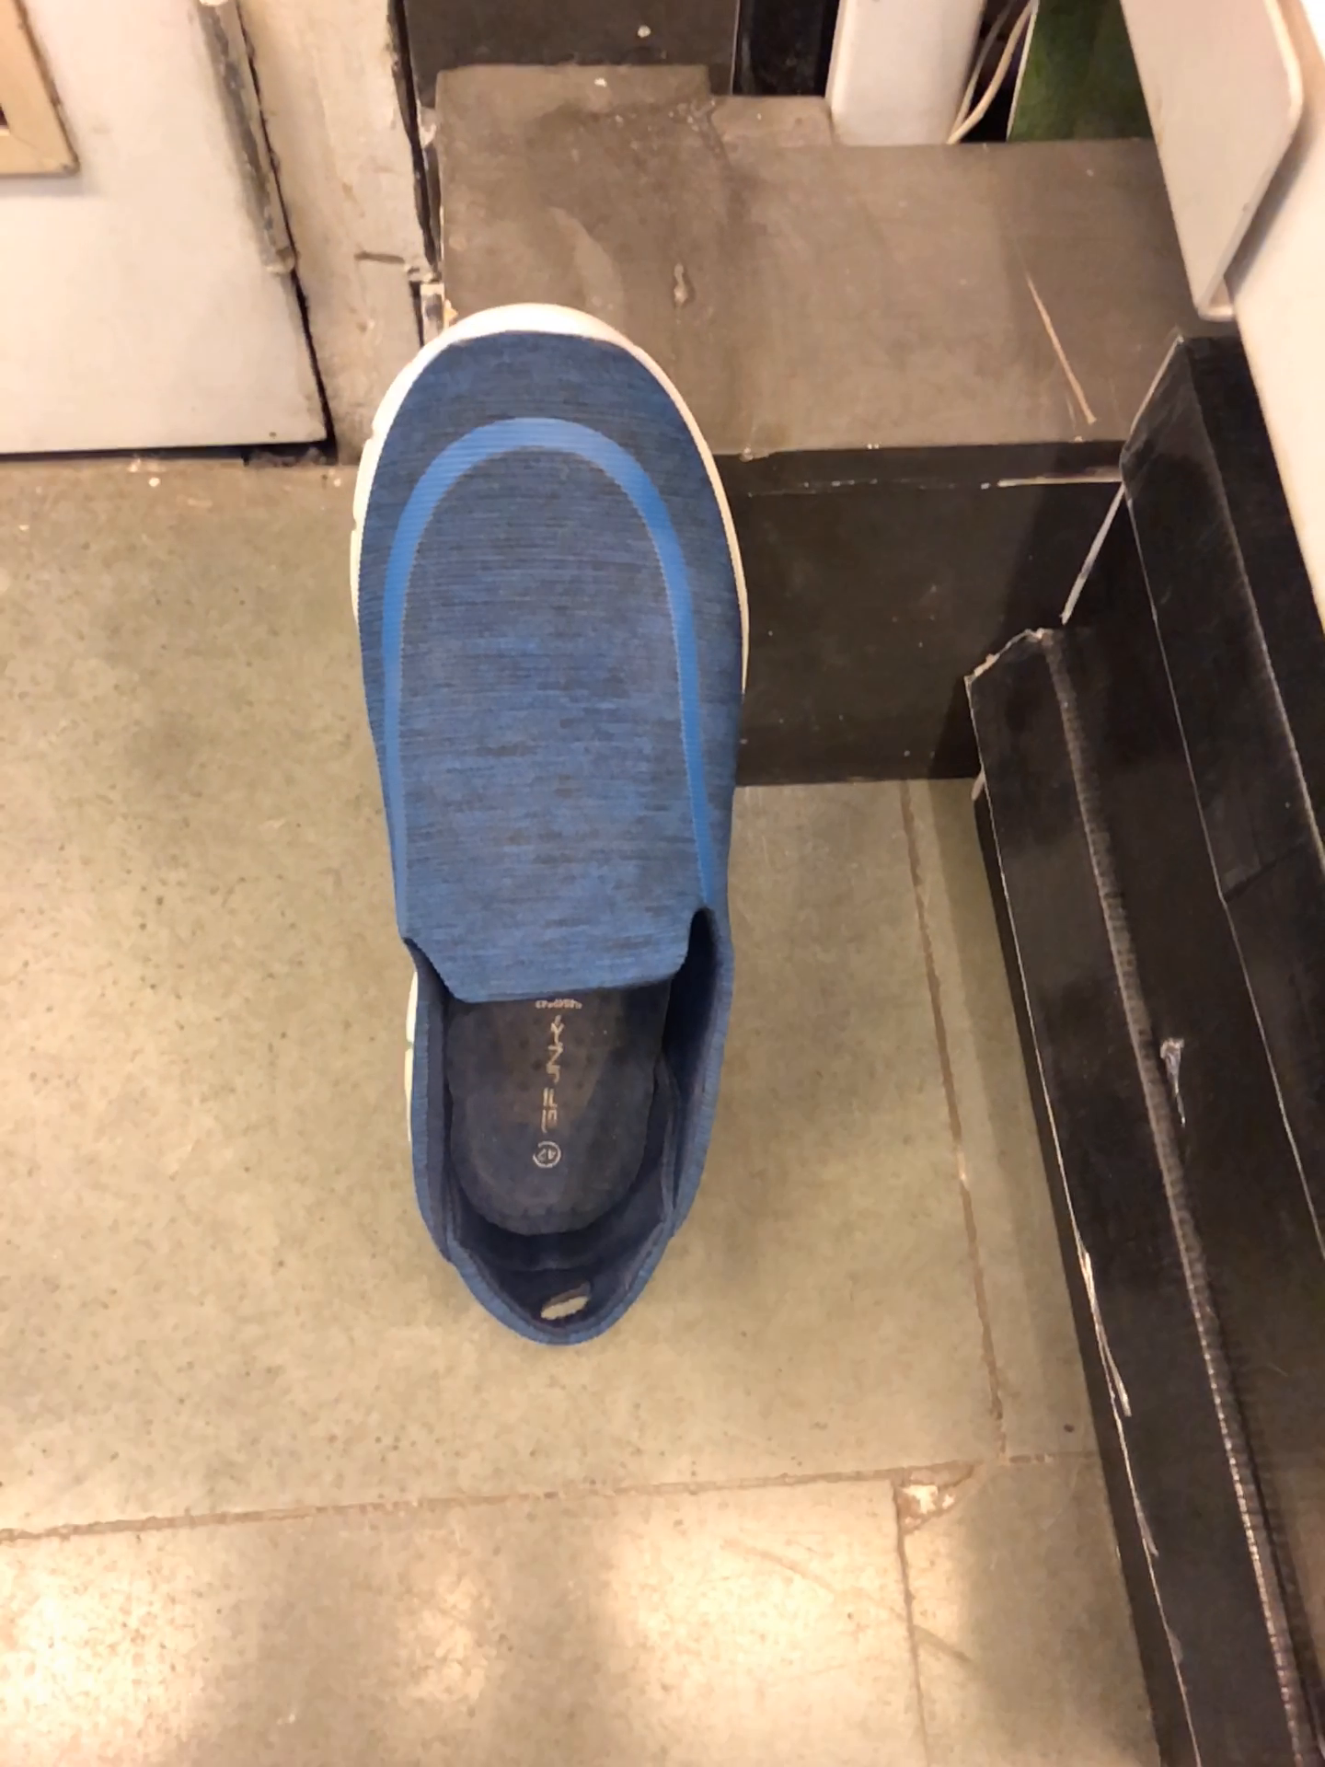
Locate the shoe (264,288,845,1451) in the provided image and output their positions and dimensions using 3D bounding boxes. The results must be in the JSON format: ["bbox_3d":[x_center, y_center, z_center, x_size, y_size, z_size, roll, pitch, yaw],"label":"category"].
[{"bbox_3d":[-0.028,-0.002,0.371,0.110,0.271,0.096,-1,21,-7],"label":"shoe"}]
